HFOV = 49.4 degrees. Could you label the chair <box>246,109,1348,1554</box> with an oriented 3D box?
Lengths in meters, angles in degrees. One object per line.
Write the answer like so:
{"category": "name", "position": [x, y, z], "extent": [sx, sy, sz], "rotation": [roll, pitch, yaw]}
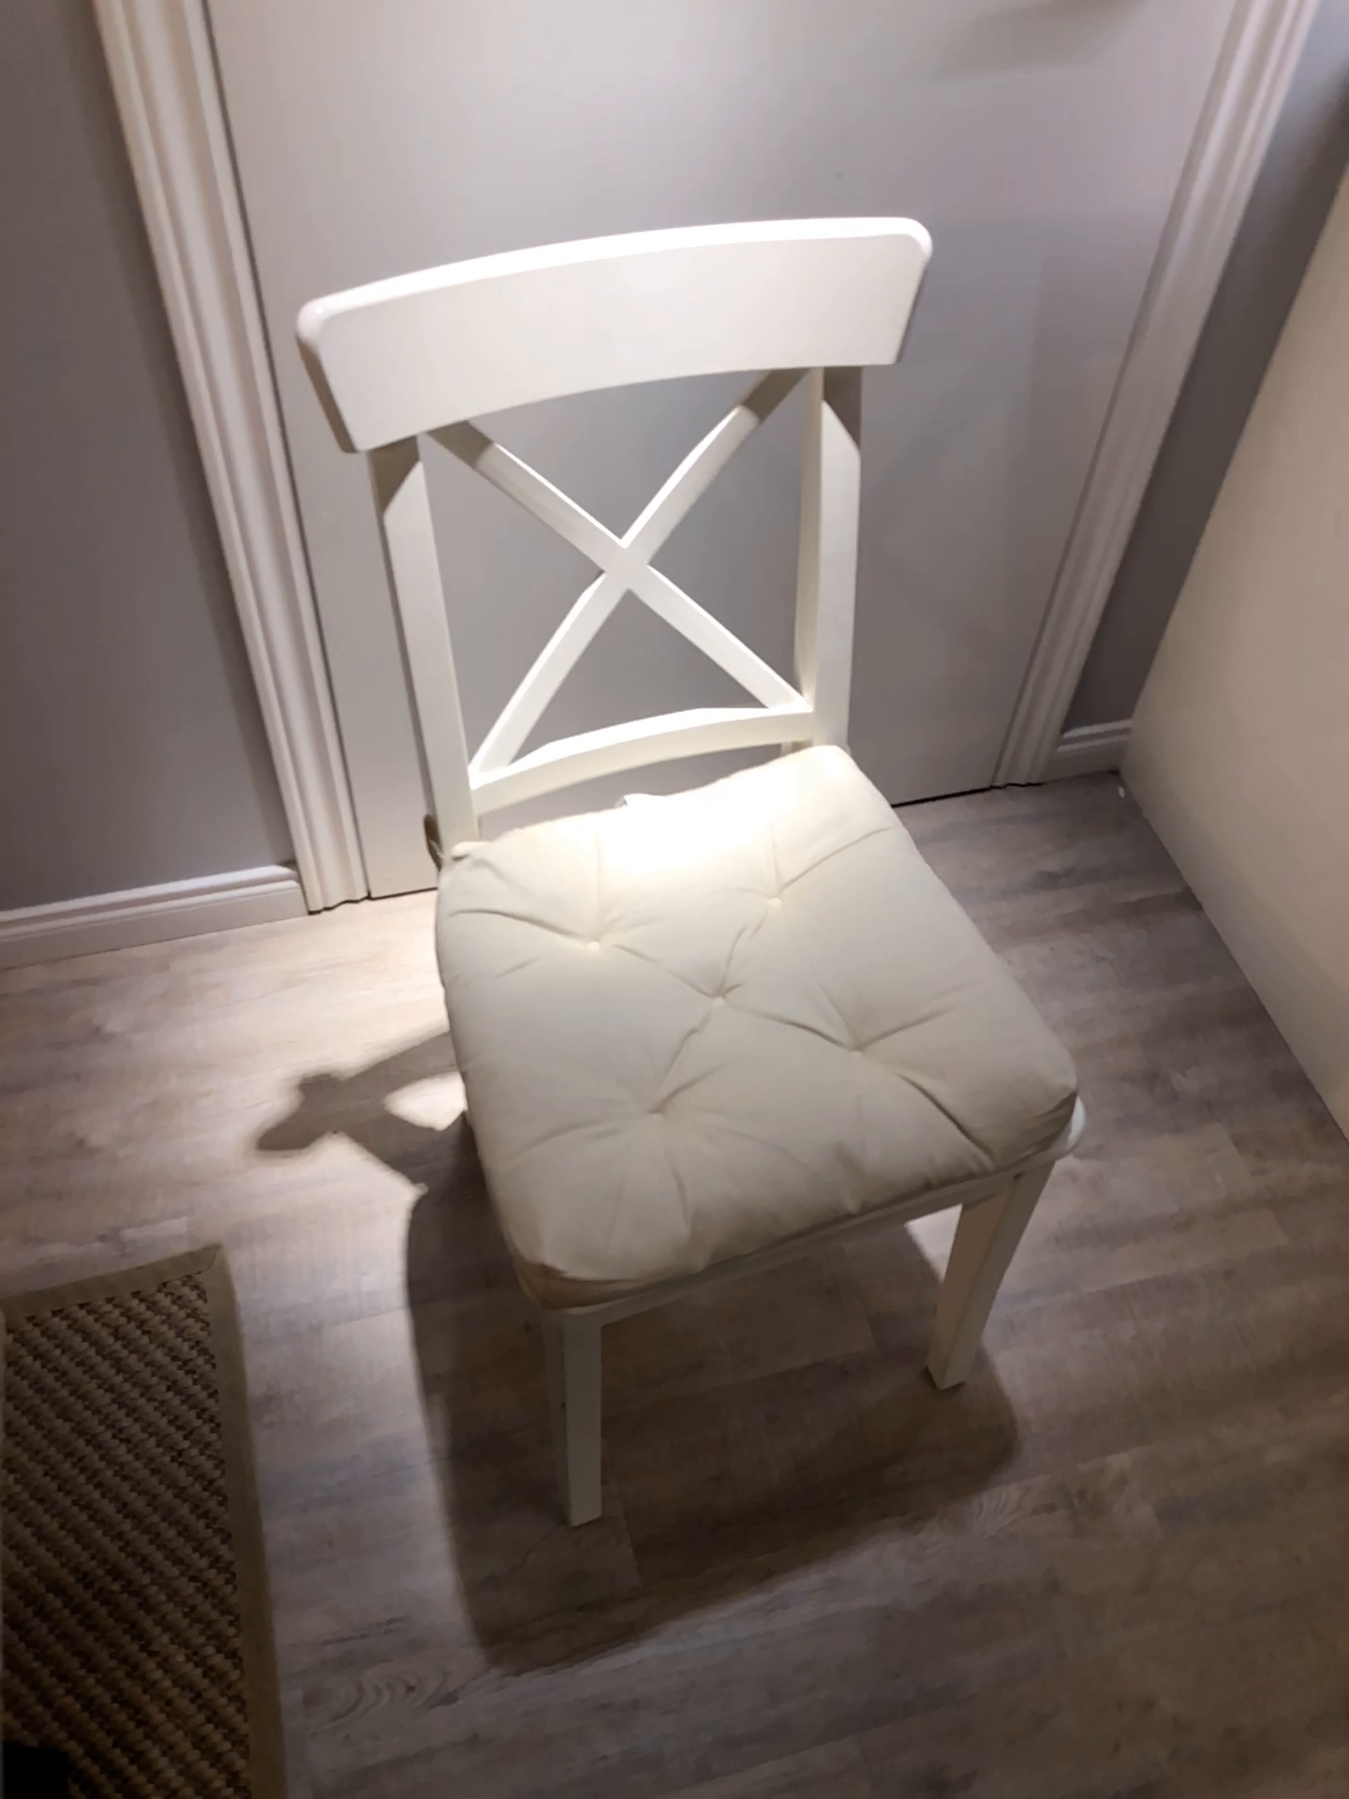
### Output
{"category": "chair", "position": [0.043, 0.016, 1.069], "extent": [0.450, 0.875, 0.513], "rotation": [-15, 54, -15]}
